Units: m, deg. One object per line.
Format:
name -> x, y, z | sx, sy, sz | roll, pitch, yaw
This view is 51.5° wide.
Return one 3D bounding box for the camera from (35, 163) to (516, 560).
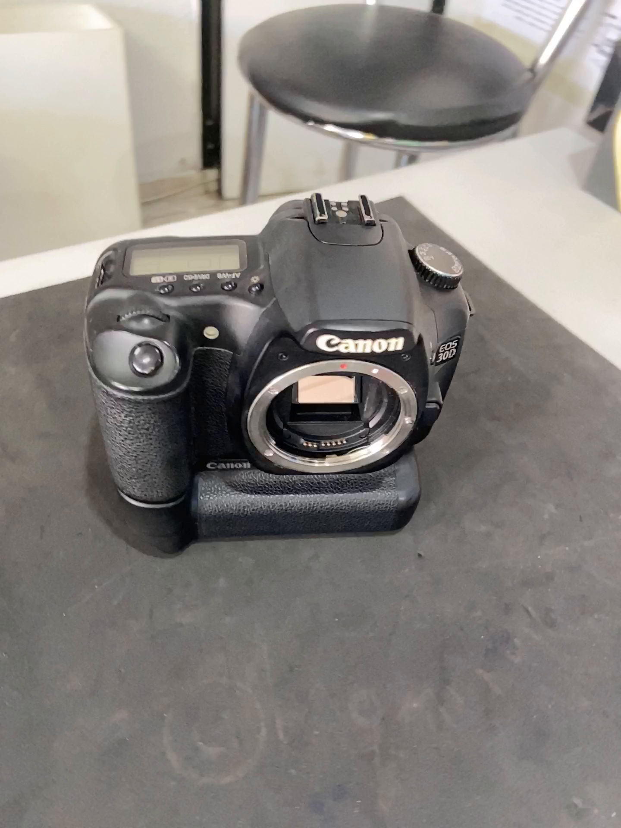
camera -> -0.017, -0.014, 0.265 | 0.140, 0.139, 0.080 | 0, 47, -7
